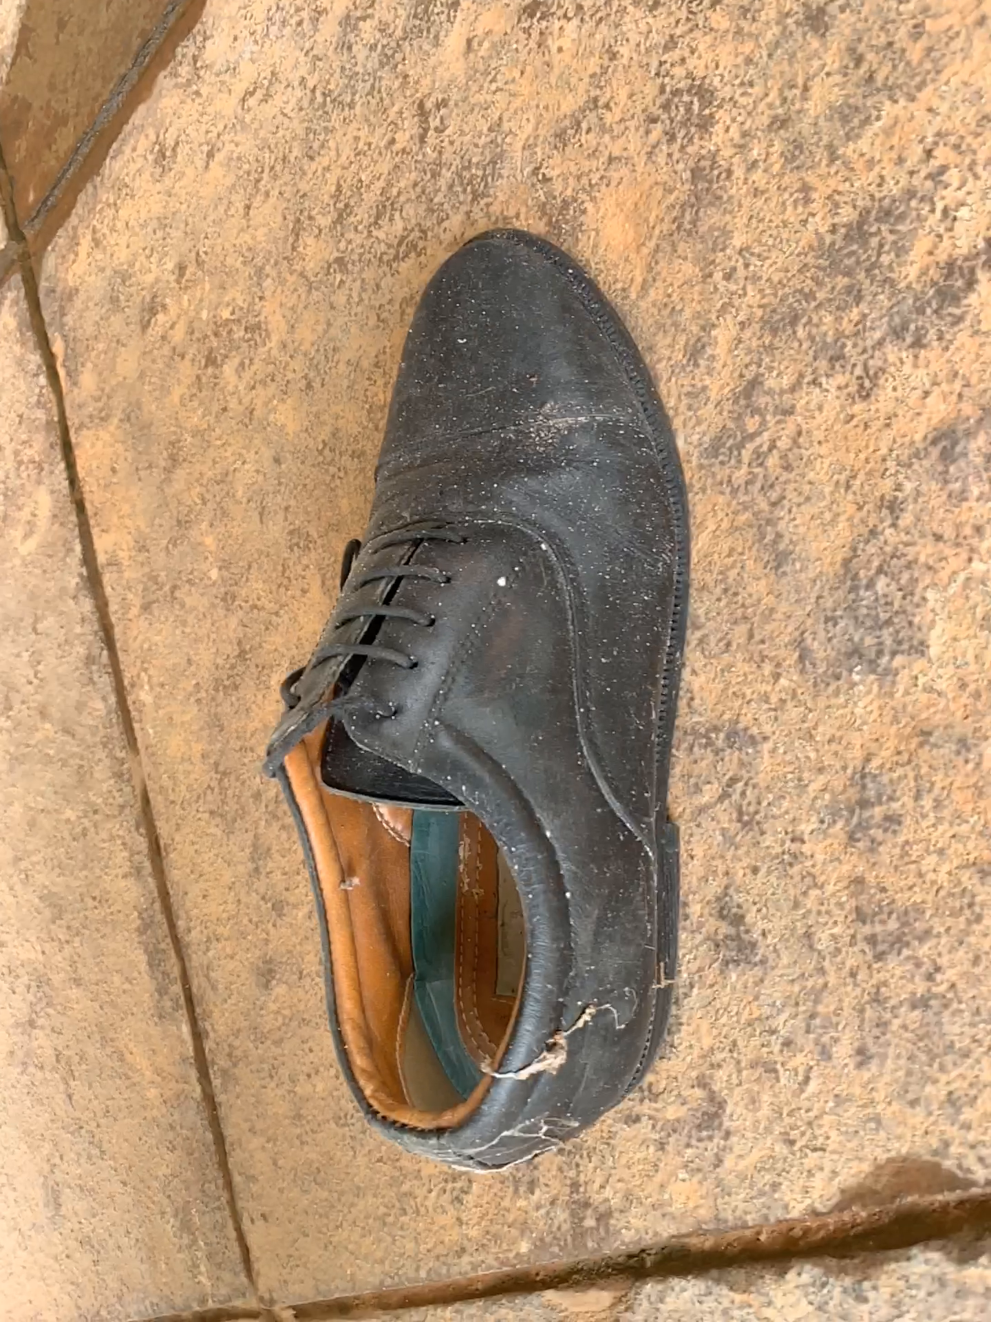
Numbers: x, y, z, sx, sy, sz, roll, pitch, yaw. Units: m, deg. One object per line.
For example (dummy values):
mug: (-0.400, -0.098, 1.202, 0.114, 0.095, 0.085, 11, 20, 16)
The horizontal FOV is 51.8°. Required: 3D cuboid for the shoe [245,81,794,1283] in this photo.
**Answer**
shoe: (0.002, 0.004, 0.293, 0.101, 0.090, 0.270, -12, 79, 39)
